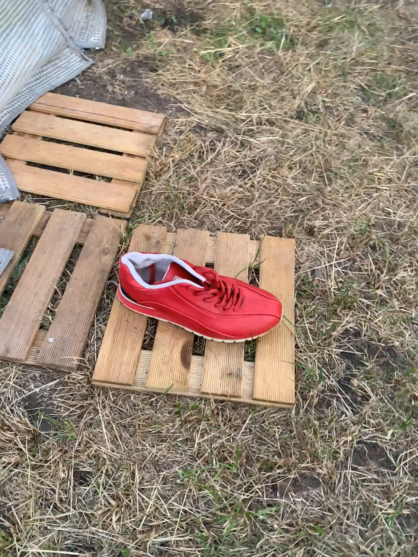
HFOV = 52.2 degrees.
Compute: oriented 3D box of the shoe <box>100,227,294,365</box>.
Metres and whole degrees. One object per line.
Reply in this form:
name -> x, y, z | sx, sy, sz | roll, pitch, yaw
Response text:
shoe -> -0.018, 0.027, 0.650 | 0.260, 0.099, 0.101 | 18, 58, 5
